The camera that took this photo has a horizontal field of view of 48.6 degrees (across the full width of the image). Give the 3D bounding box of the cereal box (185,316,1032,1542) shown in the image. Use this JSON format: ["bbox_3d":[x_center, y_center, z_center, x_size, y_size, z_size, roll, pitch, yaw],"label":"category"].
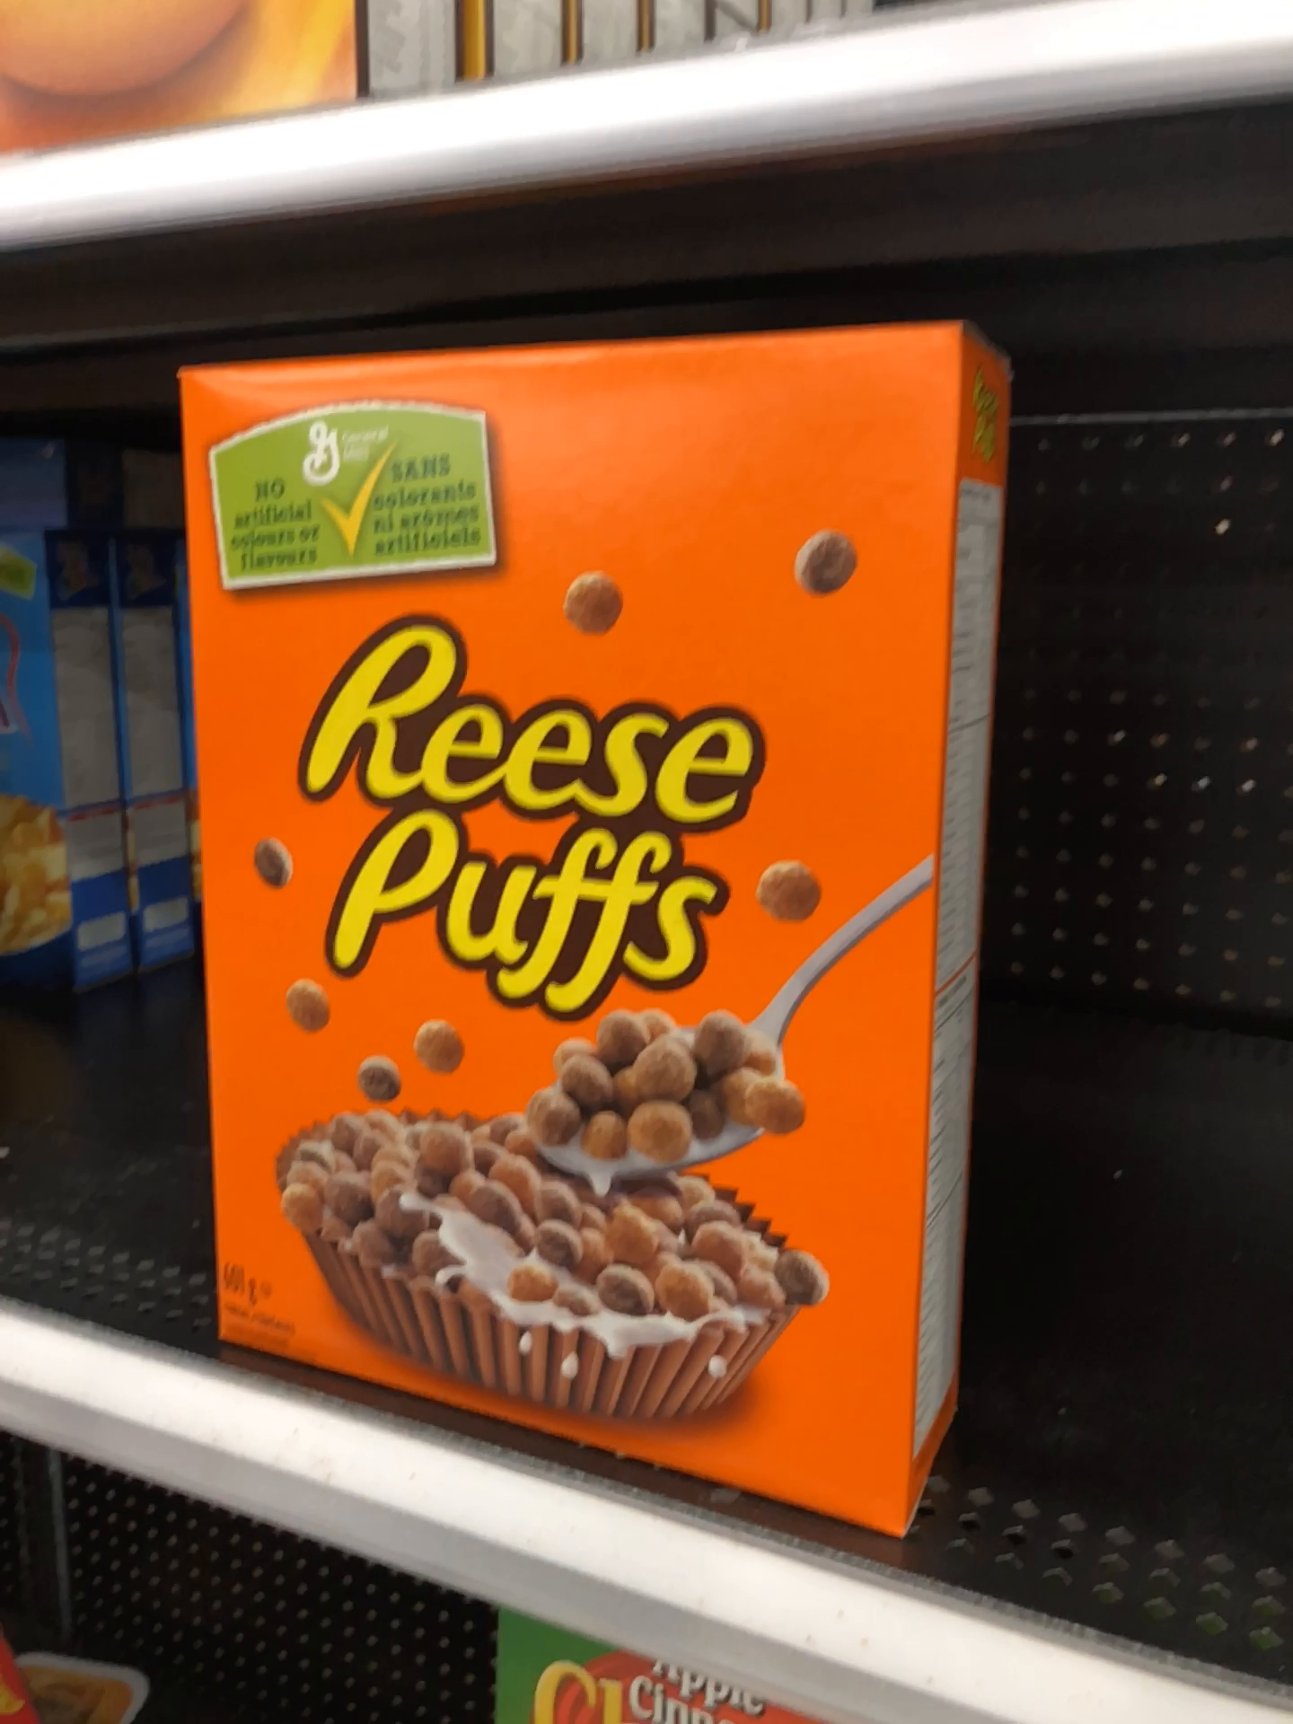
[{"bbox_3d":[-0.017,0.013,0.444,0.240,0.319,0.070,5,11,24],"label":"cereal box"}]
